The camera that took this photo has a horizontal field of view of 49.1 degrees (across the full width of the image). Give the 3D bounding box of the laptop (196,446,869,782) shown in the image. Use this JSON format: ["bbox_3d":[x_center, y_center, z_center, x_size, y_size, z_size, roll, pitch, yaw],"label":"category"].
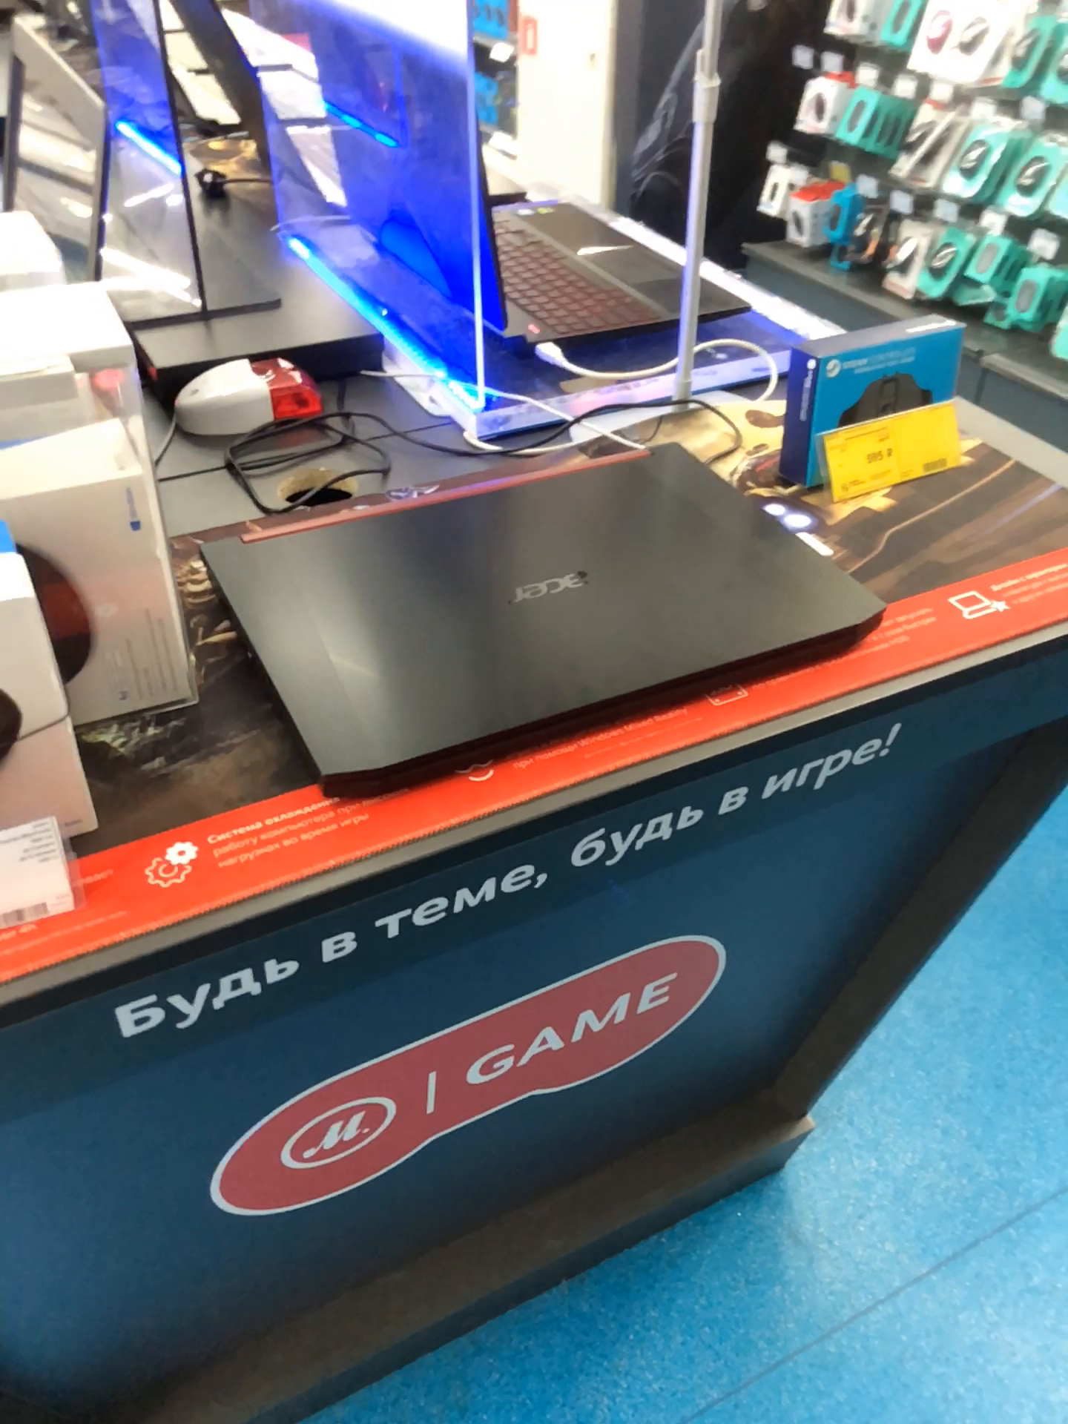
[{"bbox_3d":[-0.006,-0.083,0.731,0.351,0.005,0.243,-17,42,-22],"label":"laptop"}]
